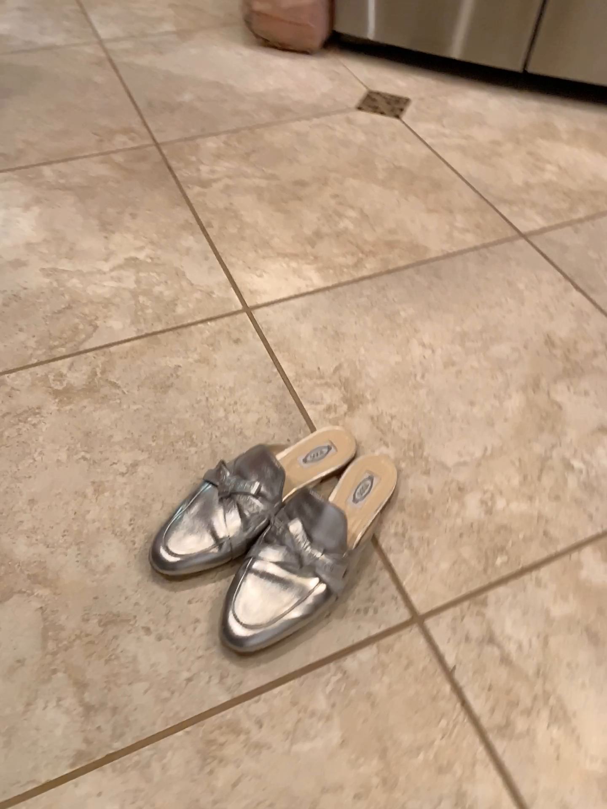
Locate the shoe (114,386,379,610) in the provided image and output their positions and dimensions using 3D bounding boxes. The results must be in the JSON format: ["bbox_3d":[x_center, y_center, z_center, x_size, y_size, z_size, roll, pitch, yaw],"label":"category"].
[{"bbox_3d":[-0.056,0.096,0.702,0.277,0.077,0.102,-30,58,-24],"label":"shoe"}]

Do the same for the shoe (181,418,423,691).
[{"bbox_3d":[0.008,0.146,0.658,0.092,0.077,0.280,32,56,22],"label":"shoe"}]
